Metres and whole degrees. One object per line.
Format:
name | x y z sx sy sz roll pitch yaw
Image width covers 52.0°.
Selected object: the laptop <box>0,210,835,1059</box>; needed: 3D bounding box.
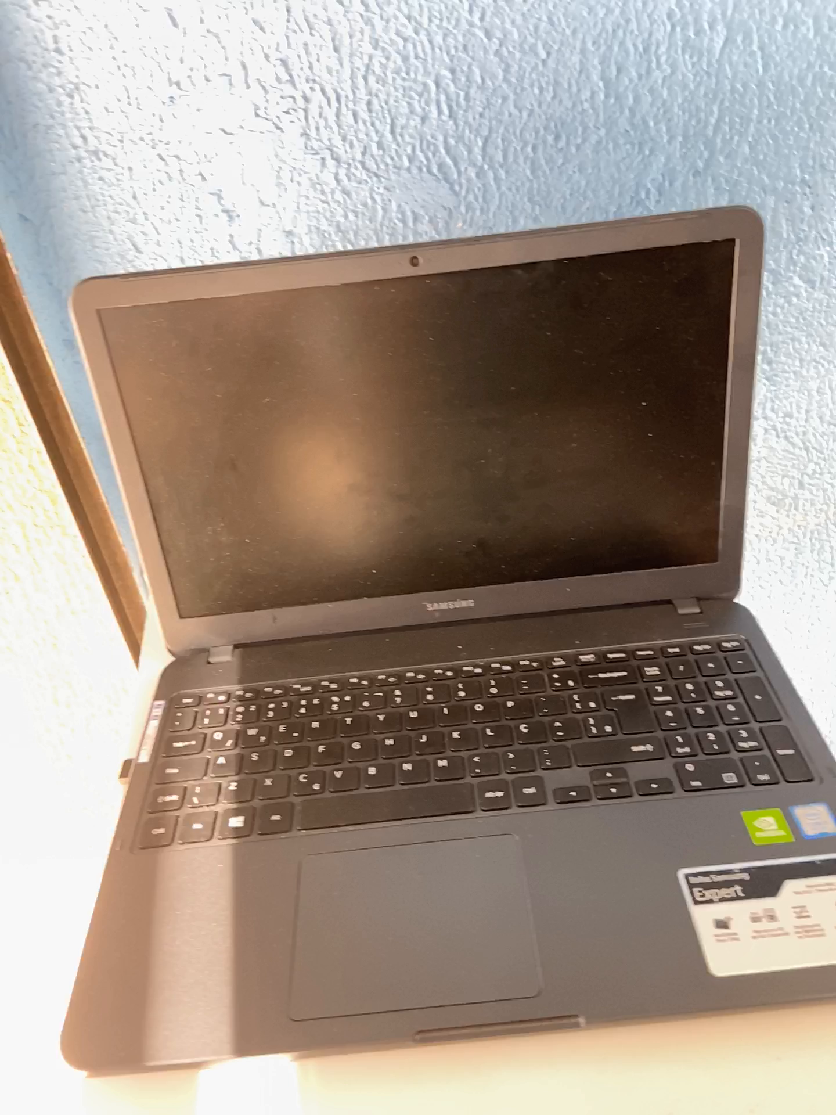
laptop | 0.013 0.014 0.409 0.370 0.232 0.288 -6 36 1
